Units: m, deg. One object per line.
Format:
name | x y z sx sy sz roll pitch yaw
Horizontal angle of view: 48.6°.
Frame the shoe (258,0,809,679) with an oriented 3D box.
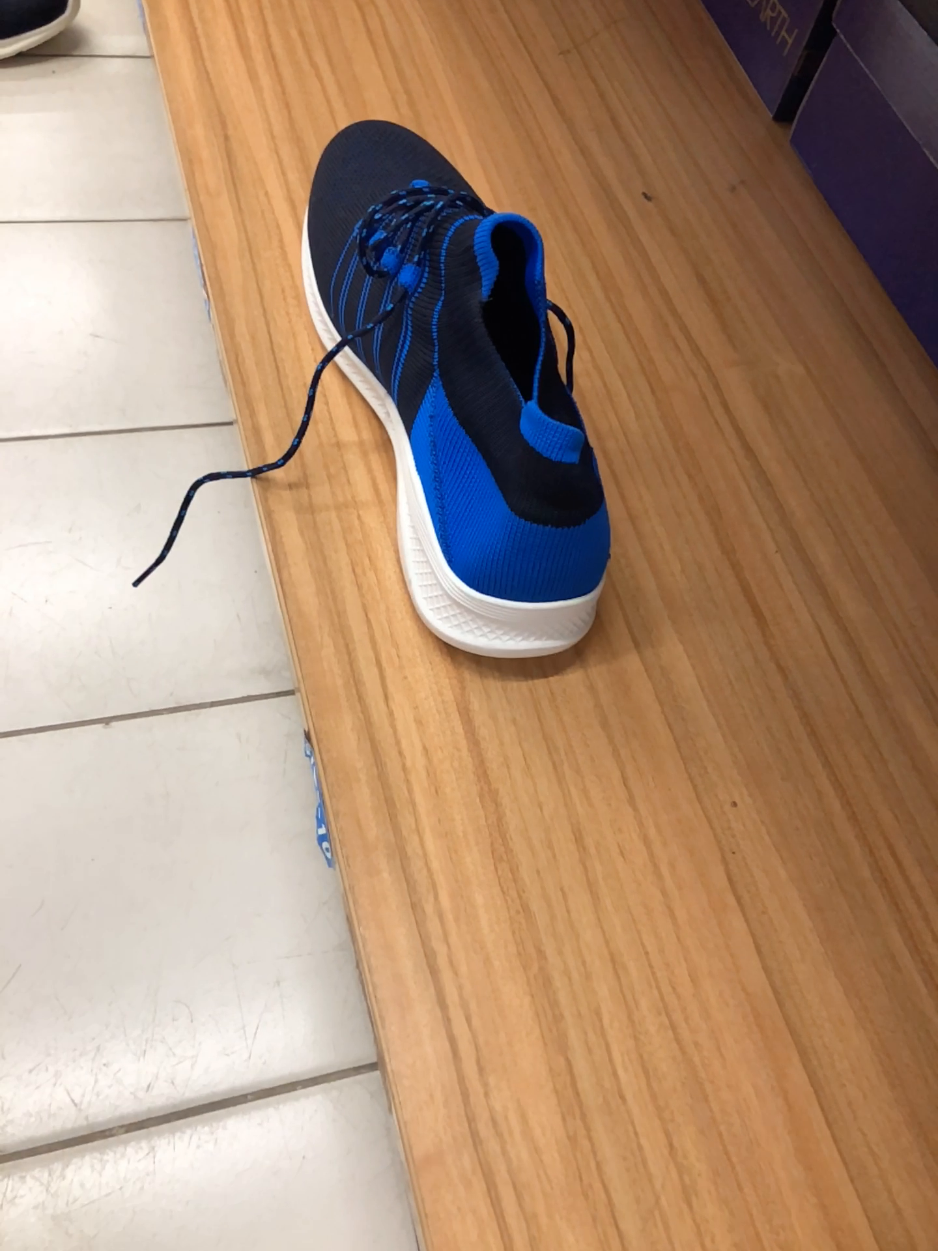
shoe | 0.001 -0.128 0.399 0.110 0.109 0.261 -11 62 -18
